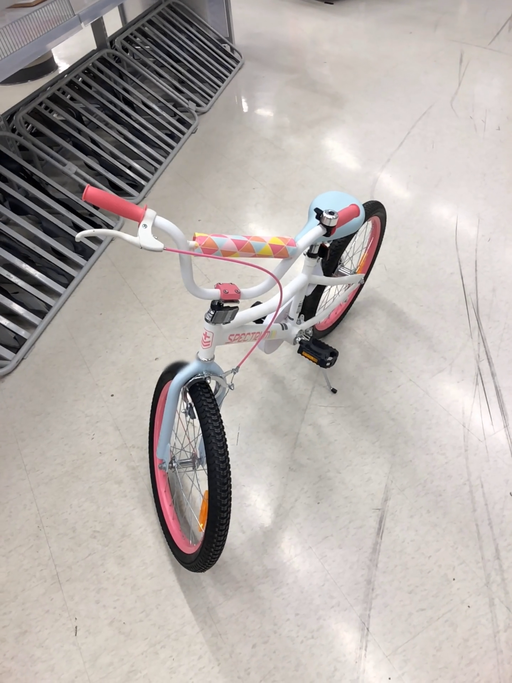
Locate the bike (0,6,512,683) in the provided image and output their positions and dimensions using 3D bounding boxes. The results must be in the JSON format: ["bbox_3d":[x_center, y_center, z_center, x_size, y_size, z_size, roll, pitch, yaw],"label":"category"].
[{"bbox_3d":[0.171,-0.111,1.422,0.632,0.961,1.257,15,48,23],"label":"bike"}]
